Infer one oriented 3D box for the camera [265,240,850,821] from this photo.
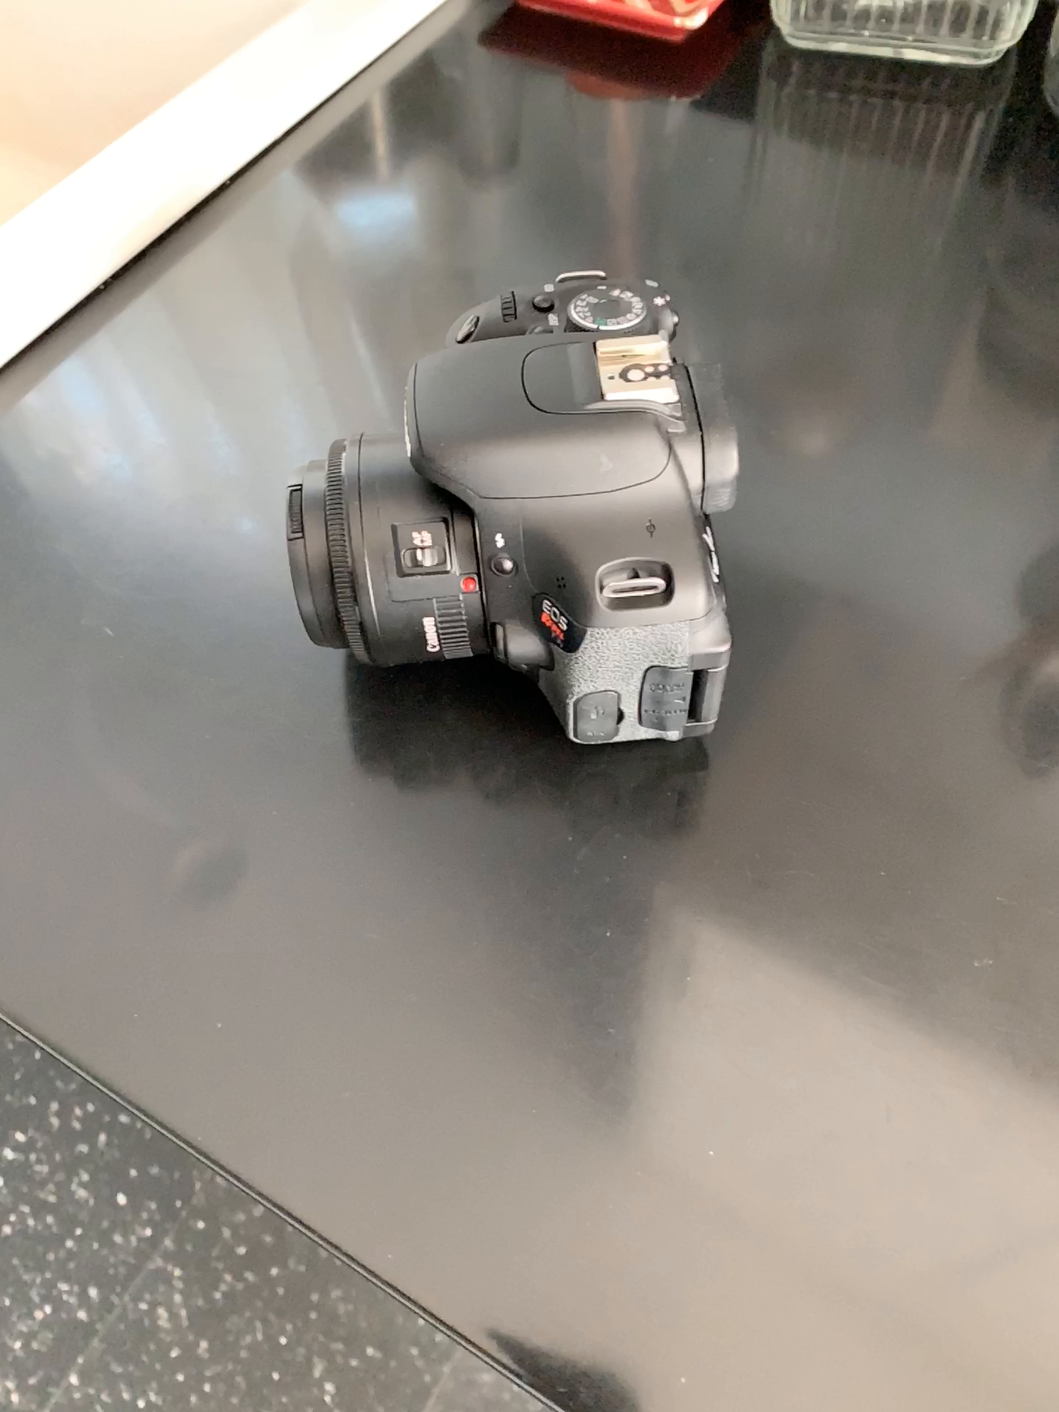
[{"bbox_3d":[0.004,-0.055,0.350,0.145,0.100,0.140,-5,57,0],"label":"camera"}]
